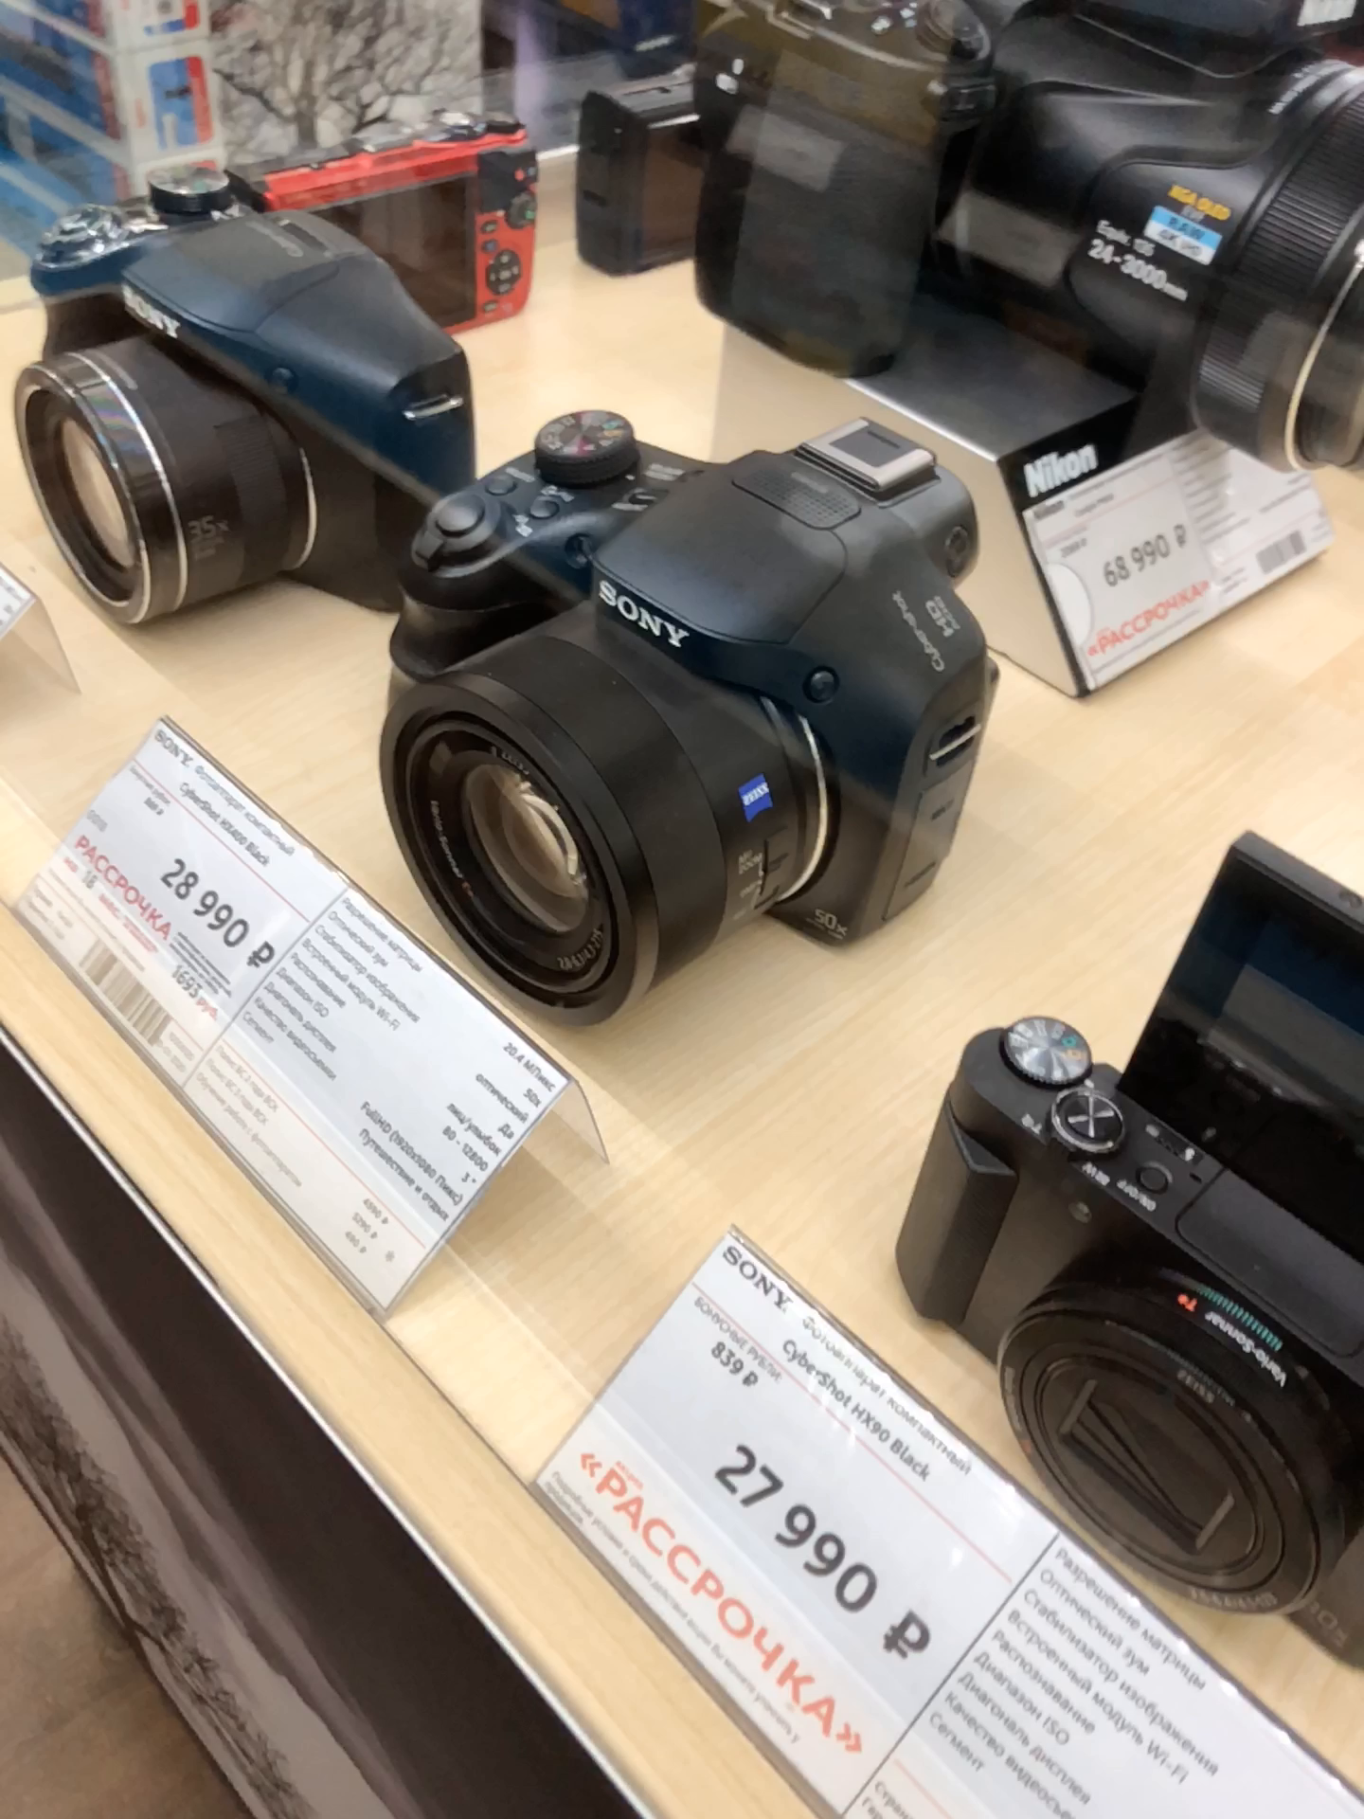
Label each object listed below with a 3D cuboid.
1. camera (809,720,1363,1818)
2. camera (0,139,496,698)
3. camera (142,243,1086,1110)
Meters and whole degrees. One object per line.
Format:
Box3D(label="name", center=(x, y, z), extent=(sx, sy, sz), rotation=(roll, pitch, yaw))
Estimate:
Box3D(label="camera", center=(0.091, 0.058, 0.221), extent=(0.056, 0.113, 0.125), rotation=(-32, 56, -33))
Box3D(label="camera", center=(-0.124, -0.130, 0.382), extent=(0.097, 0.073, 0.122), rotation=(-32, 56, -33))
Box3D(label="camera", center=(-0.017, -0.055, 0.301), extent=(0.104, 0.086, 0.137), rotation=(-32, 56, -33))
